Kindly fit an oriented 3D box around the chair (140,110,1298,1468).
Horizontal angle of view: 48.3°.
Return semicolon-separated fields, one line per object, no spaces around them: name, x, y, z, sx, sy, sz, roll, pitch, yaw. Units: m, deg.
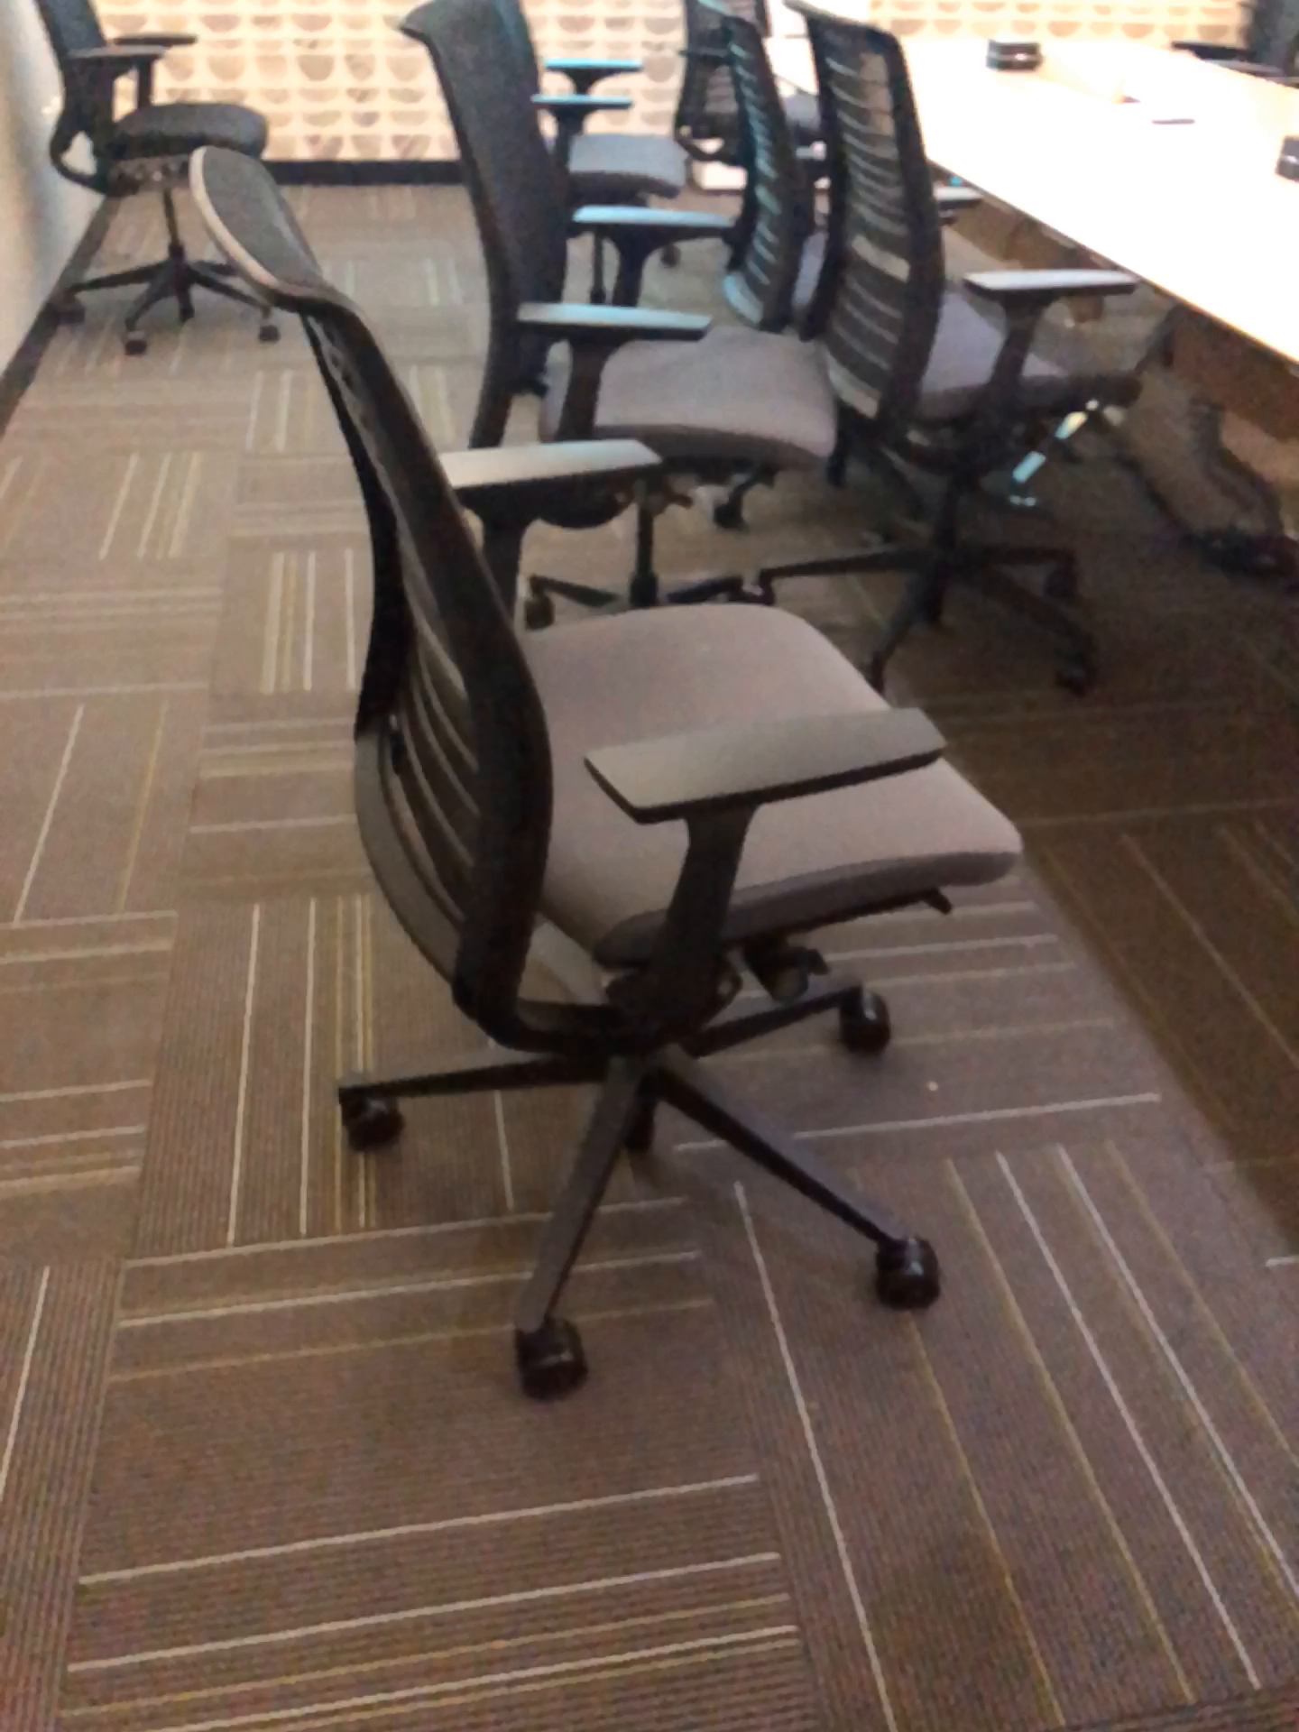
chair;0.001;-0.135;1.283;0.660;0.856;0.723;-11;36;-19
